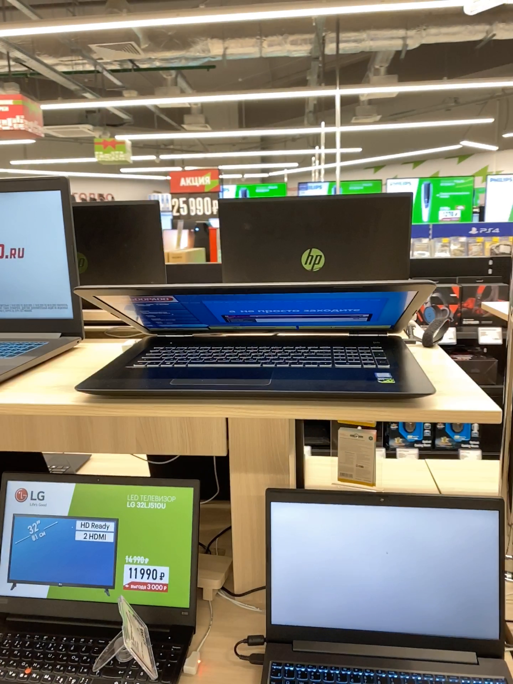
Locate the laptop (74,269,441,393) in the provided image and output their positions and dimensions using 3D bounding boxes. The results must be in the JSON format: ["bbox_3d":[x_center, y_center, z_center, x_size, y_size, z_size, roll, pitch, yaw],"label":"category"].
[{"bbox_3d":[0.006,-0.028,0.697,0.397,0.103,0.264,0,13,7],"label":"laptop"}]
